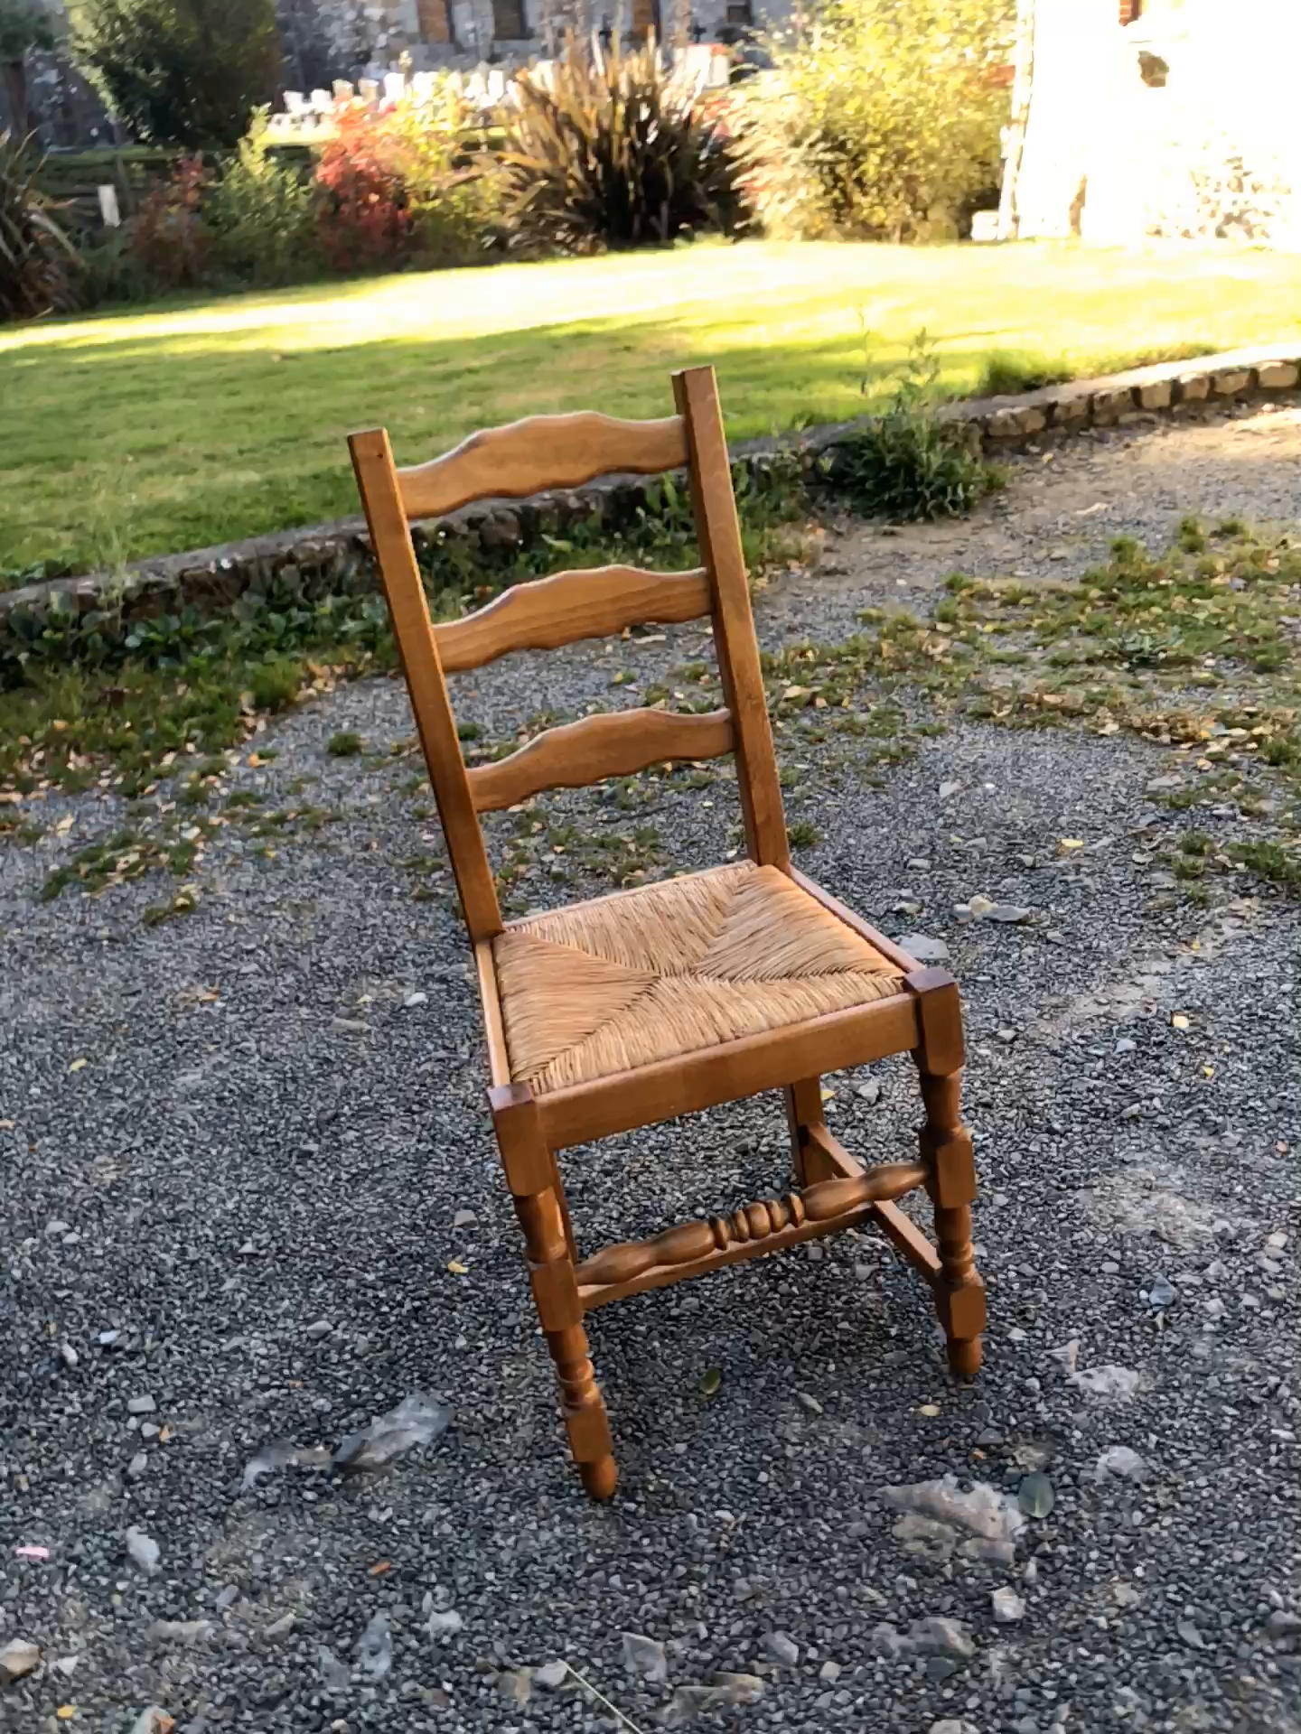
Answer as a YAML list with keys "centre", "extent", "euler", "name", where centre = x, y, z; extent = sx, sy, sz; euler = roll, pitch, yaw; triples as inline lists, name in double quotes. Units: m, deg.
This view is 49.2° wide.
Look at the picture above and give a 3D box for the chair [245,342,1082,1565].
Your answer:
- centre: [0.013, 0.034, 1.312]
  extent: [0.531, 0.886, 0.522]
  euler: [-14, 25, -12]
  name: "chair"
